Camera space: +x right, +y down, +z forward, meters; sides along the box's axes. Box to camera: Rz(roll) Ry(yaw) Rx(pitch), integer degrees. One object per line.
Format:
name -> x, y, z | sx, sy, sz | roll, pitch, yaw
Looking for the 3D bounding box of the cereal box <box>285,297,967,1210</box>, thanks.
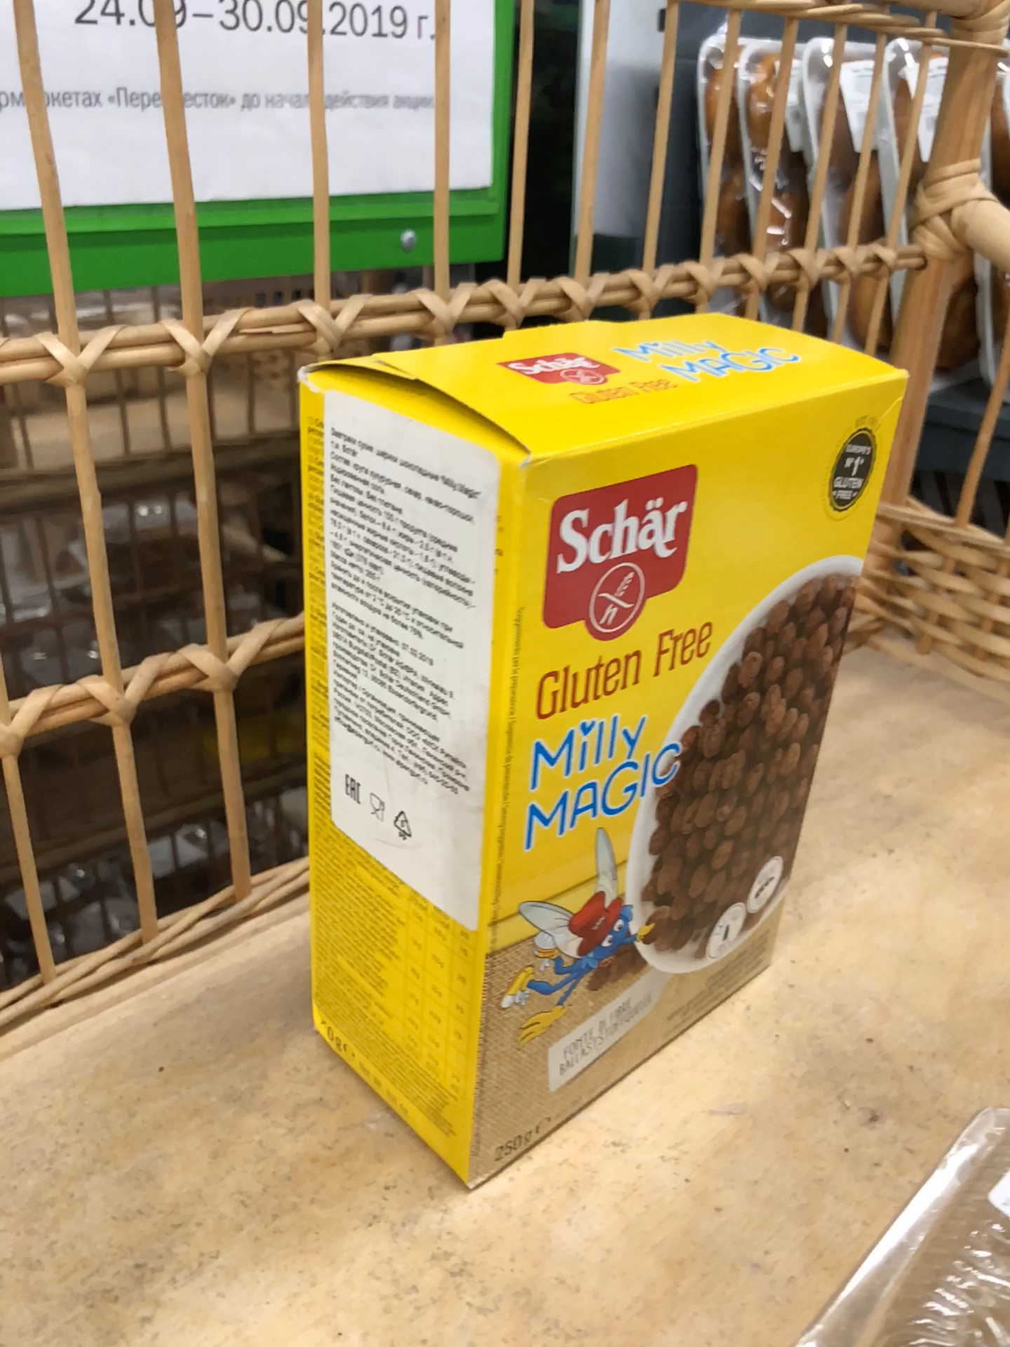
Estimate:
cereal box -> 0.030, 0.013, 0.325 | 0.161, 0.209, 0.080 | -21, 38, -38
